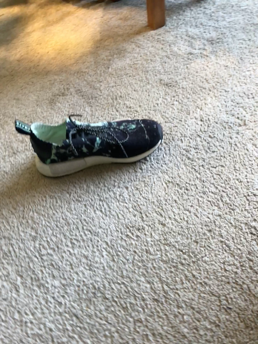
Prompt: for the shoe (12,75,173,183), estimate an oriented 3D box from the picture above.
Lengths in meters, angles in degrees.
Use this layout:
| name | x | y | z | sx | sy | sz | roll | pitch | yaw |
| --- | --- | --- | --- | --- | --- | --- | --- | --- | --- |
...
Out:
| name | x | y | z | sx | sy | sz | roll | pitch | yaw |
| --- | --- | --- | --- | --- | --- | --- | --- | --- | --- |
| shoe | -0.068 | -0.084 | 0.568 | 0.286 | 0.100 | 0.132 | -11 | 56 | 5 |
